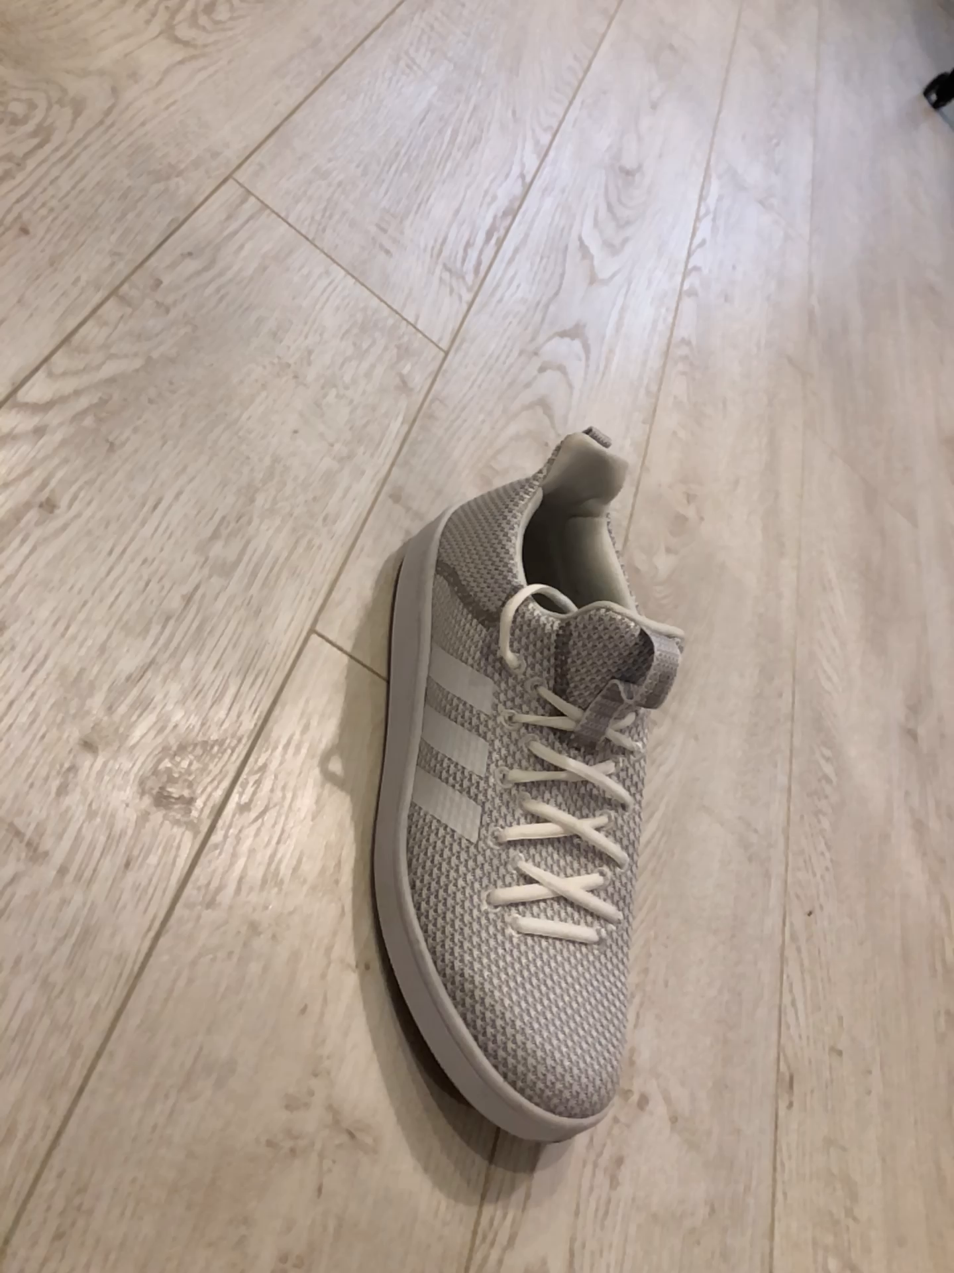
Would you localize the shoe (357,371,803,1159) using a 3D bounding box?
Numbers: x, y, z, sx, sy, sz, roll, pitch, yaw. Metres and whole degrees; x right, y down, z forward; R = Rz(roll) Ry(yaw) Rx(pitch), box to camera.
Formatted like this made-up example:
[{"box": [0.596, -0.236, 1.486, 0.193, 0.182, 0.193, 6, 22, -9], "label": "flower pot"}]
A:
[{"box": [0.025, 0.048, 0.438, 0.100, 0.109, 0.291, 17, 53, -33], "label": "shoe"}]
